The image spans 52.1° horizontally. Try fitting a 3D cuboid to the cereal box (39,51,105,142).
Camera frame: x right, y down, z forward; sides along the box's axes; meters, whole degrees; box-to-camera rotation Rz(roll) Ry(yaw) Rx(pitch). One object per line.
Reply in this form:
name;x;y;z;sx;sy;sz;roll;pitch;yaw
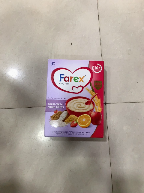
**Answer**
cereal box;0.002;0.001;0.379;0.150;0.060;0.210;2;84;-3
